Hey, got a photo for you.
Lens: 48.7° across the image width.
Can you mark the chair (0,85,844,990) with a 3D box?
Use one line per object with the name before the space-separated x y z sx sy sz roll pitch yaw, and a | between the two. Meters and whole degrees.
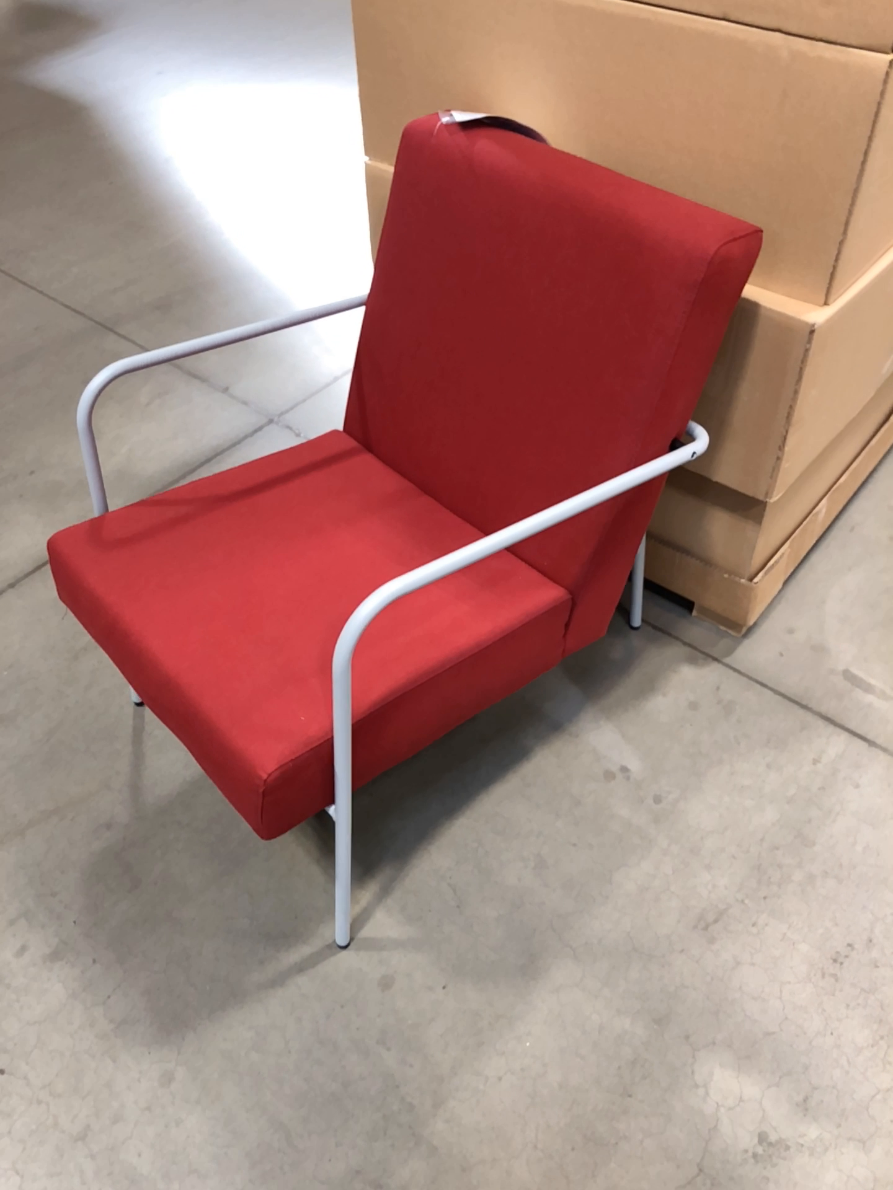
chair | -0.060 -0.112 1.298 0.761 0.708 0.632 -34 53 -26
